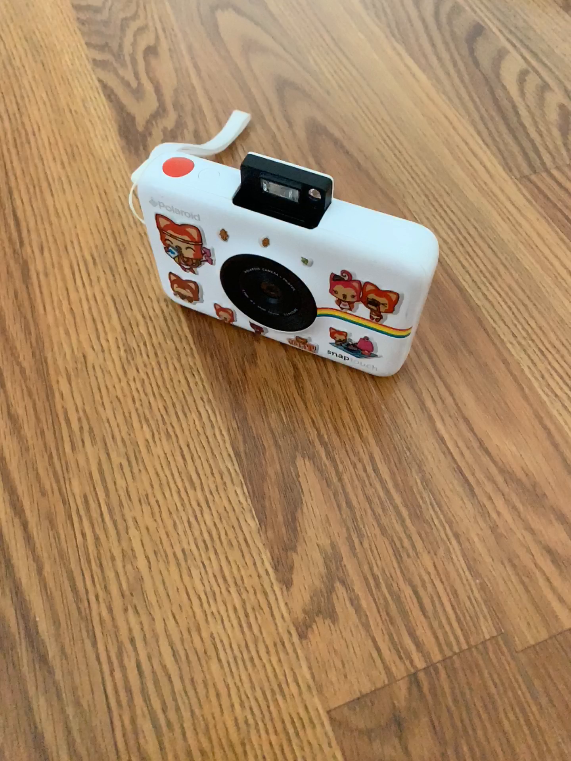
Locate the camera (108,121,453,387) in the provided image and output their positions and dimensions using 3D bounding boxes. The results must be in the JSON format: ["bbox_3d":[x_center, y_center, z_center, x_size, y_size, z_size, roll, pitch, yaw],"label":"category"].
[{"bbox_3d":[-0.004,-0.050,0.248,0.125,0.081,0.026,20,61,13],"label":"camera"}]
